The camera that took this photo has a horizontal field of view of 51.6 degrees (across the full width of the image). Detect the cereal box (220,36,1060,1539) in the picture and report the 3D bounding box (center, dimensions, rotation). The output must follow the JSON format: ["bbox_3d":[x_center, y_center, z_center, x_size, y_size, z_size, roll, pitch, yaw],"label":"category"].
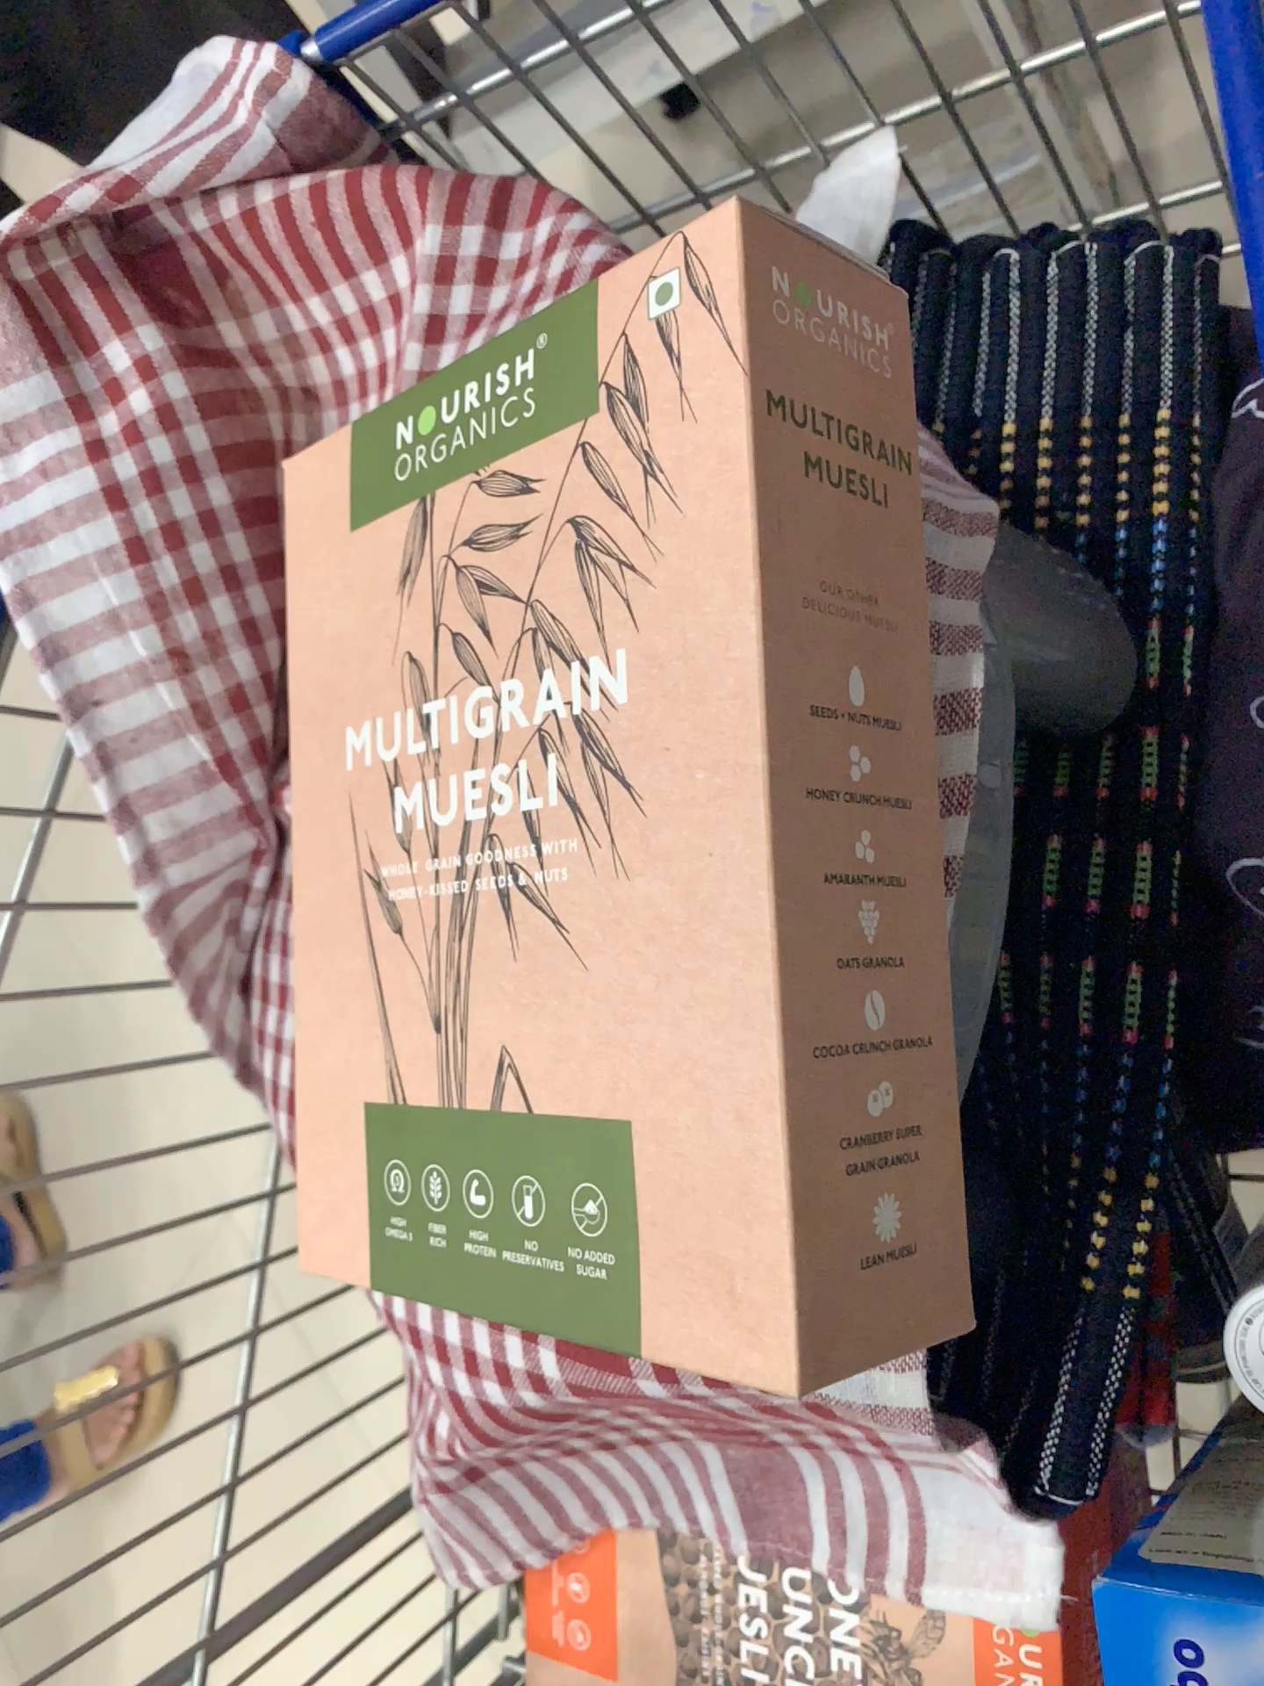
[{"bbox_3d":[-0.014,-0.004,0.246,0.161,0.050,0.200,-8,82,44],"label":"cereal box"}]
